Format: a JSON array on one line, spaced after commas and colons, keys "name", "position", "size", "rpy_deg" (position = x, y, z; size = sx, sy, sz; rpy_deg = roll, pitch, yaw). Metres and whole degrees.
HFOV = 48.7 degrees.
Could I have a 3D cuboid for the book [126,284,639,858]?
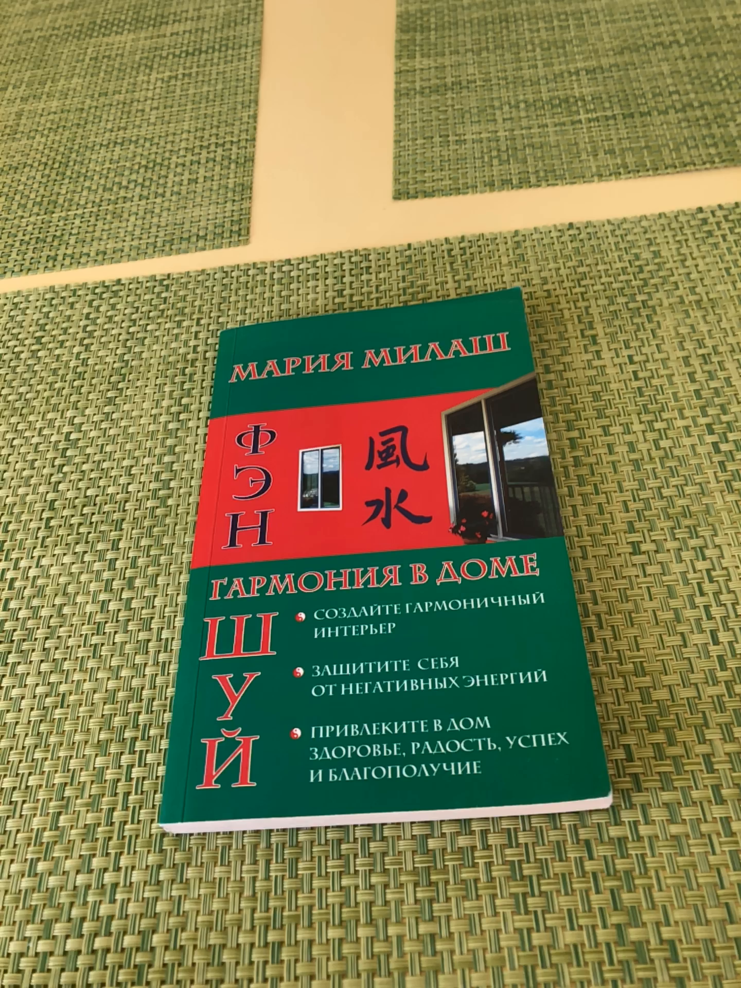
[{"name": "book", "position": [0.001, 0.012, 0.282], "size": [0.137, 0.020, 0.201], "rpy_deg": [-6, 54, 7]}]
